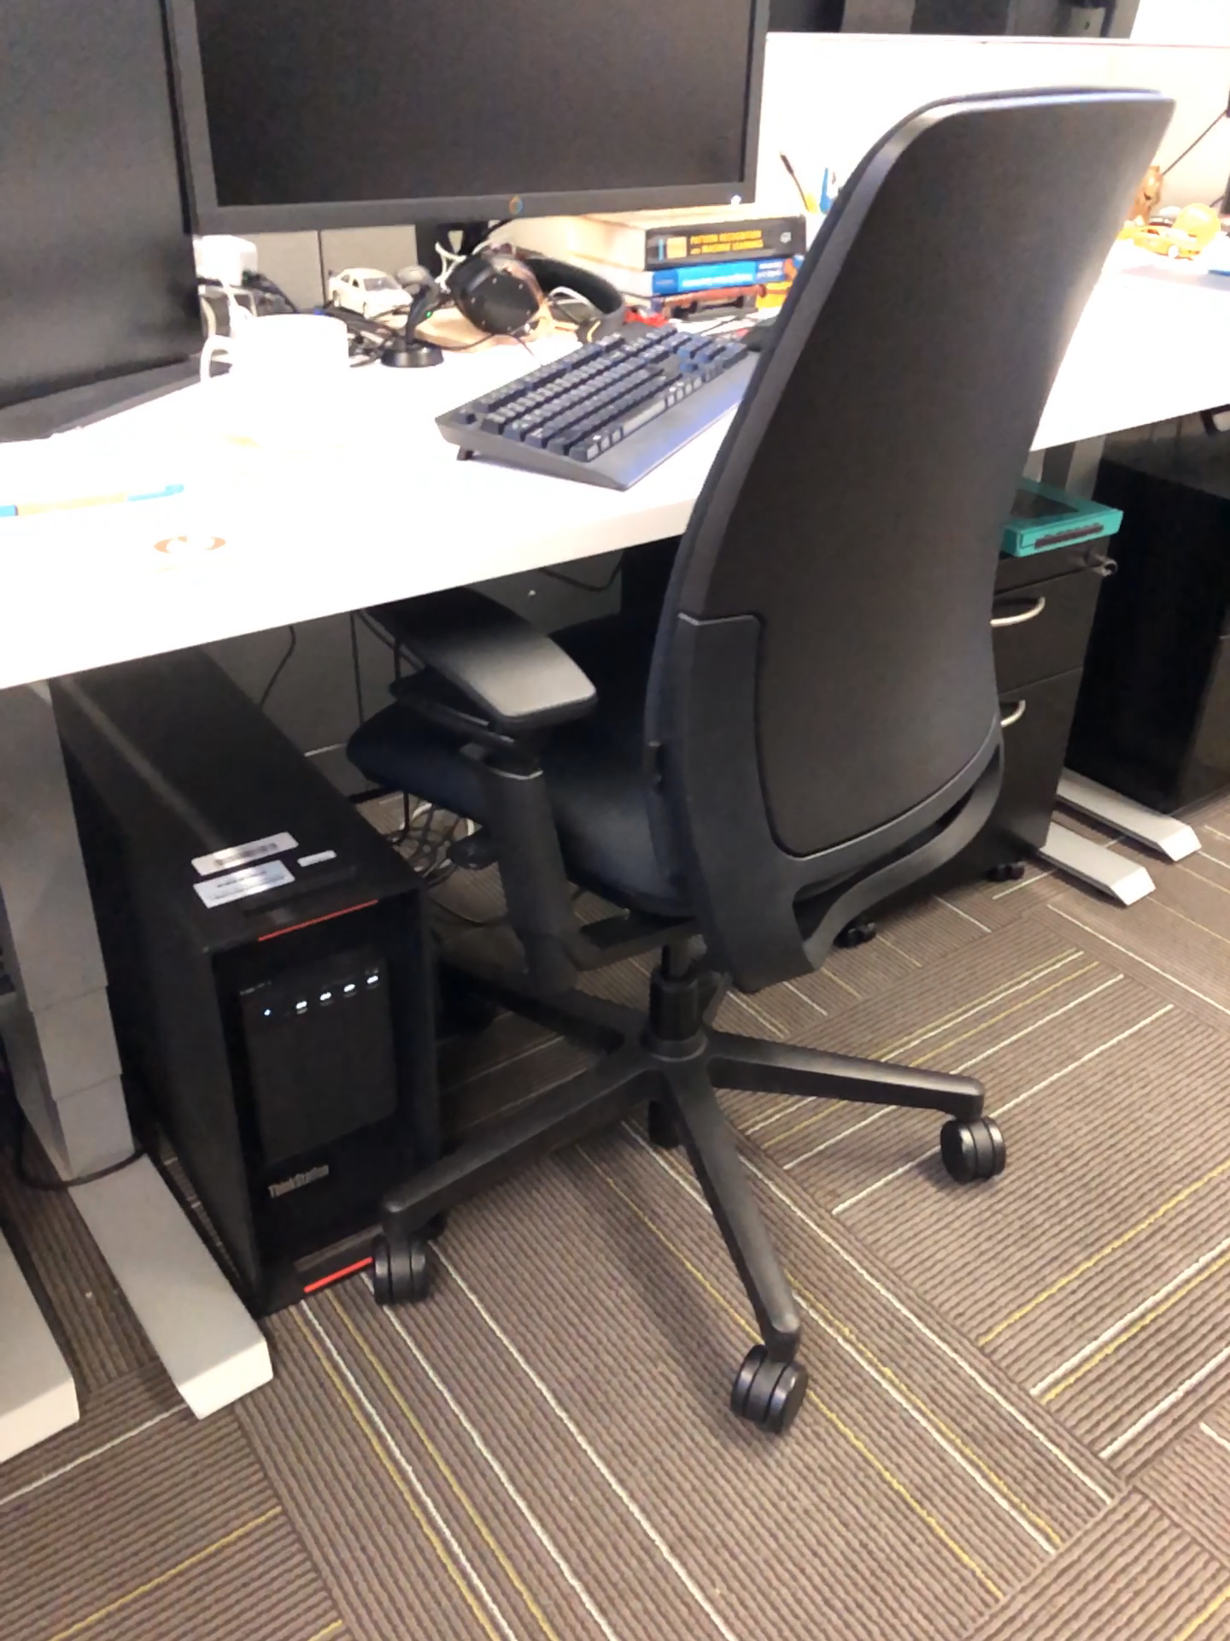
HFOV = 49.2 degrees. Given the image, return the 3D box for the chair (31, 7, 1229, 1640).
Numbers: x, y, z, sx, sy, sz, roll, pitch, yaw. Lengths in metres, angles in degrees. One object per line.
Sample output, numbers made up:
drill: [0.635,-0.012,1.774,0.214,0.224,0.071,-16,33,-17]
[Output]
chair: [0.115,-0.069,1.119,0.782,1.014,0.662,-20,37,-32]
